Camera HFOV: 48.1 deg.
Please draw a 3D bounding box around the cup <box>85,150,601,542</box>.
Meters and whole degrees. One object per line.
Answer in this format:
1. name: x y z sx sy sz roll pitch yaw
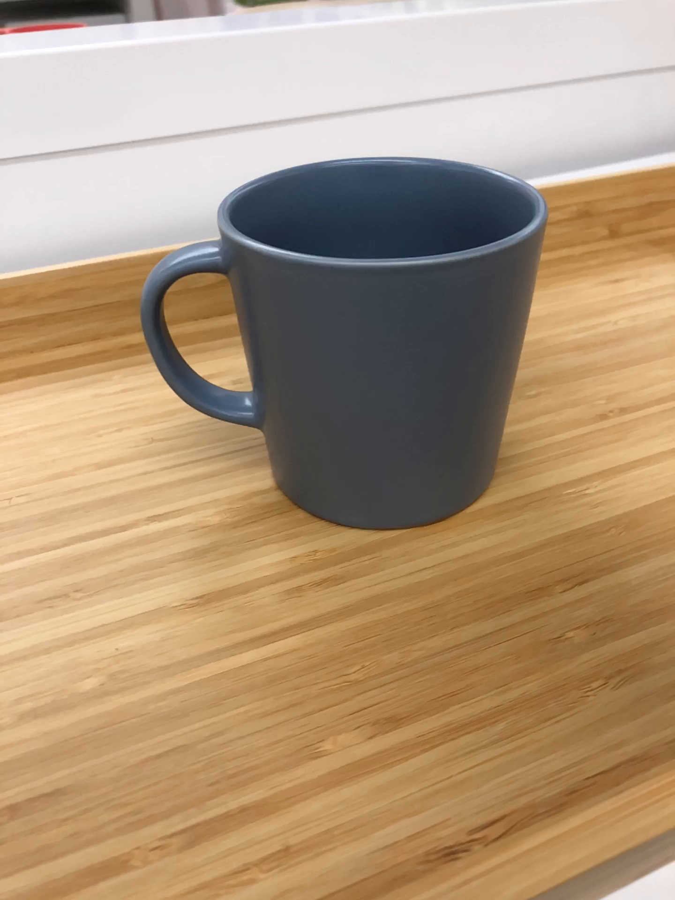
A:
1. cup: 0.003 -0.036 0.238 0.120 0.090 0.090 1 35 3
